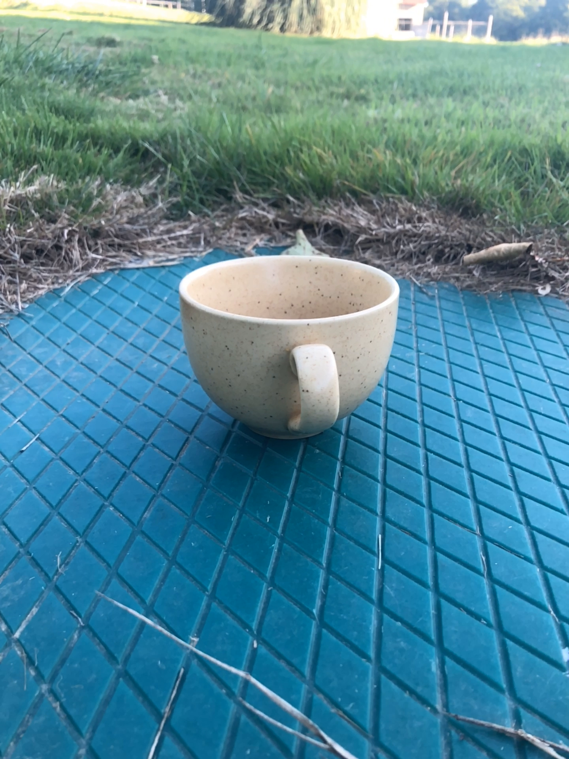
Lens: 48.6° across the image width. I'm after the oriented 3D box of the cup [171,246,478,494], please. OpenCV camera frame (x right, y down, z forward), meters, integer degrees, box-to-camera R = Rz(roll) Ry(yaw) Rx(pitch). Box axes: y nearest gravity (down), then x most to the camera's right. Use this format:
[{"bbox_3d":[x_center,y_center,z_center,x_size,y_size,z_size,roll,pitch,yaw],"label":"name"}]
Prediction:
[{"bbox_3d":[0.008,-0.017,0.334,0.124,0.065,0.143,-5,28,-10],"label":"cup"}]
